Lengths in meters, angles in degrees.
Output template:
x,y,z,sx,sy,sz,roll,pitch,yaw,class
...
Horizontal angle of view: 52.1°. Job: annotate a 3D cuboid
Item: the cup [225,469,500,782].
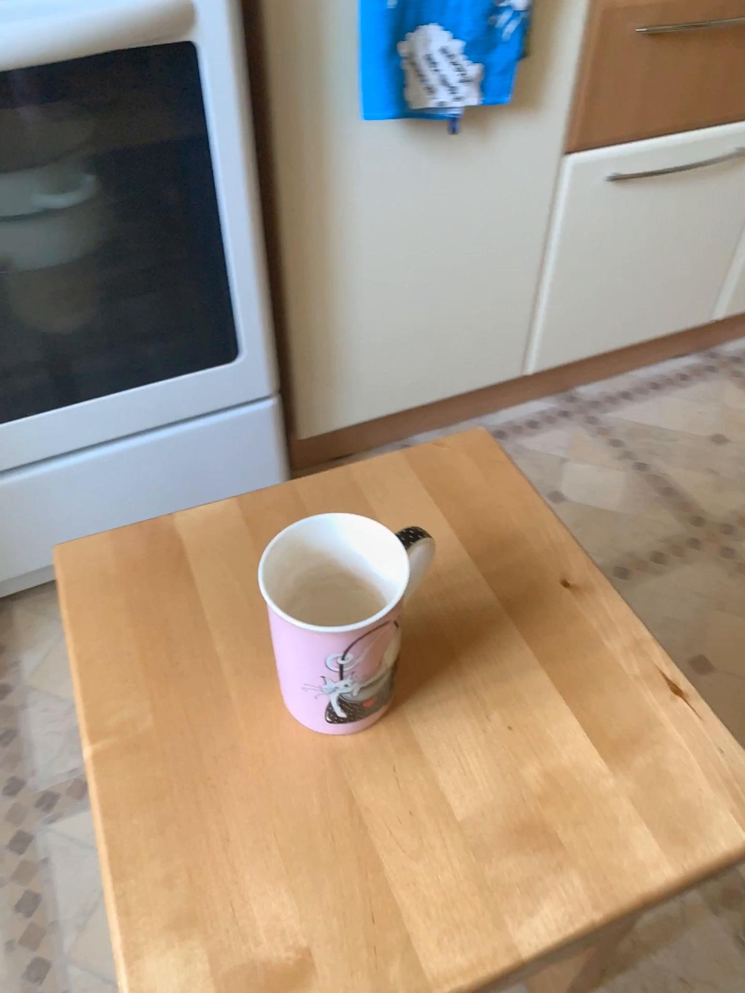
x,y,z,sx,sy,sz,roll,pitch,yaw,class
-0.004,0.067,0.411,0.110,0.099,0.080,-31,53,-28,cup
